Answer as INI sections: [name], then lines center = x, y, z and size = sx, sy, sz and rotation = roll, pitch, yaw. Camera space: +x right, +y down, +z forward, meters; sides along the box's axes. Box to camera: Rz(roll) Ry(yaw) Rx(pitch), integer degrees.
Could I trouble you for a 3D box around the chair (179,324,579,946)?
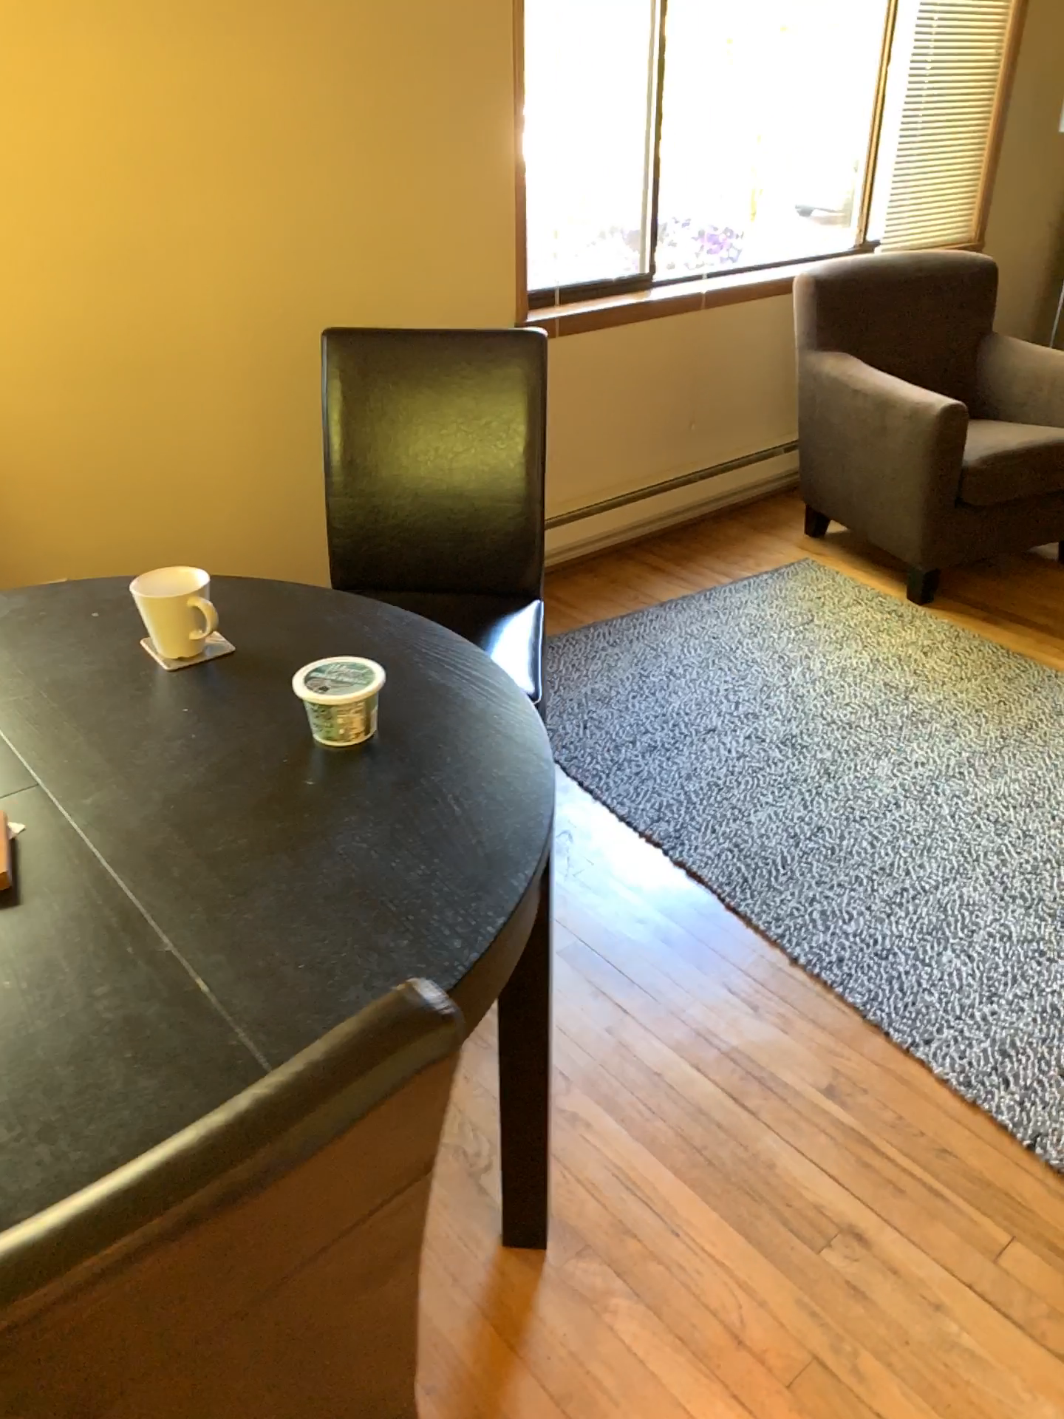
[chair]
center = -0.226, -0.160, 2.237
size = 0.620, 1.083, 0.654
rotation = 1, 30, 2
